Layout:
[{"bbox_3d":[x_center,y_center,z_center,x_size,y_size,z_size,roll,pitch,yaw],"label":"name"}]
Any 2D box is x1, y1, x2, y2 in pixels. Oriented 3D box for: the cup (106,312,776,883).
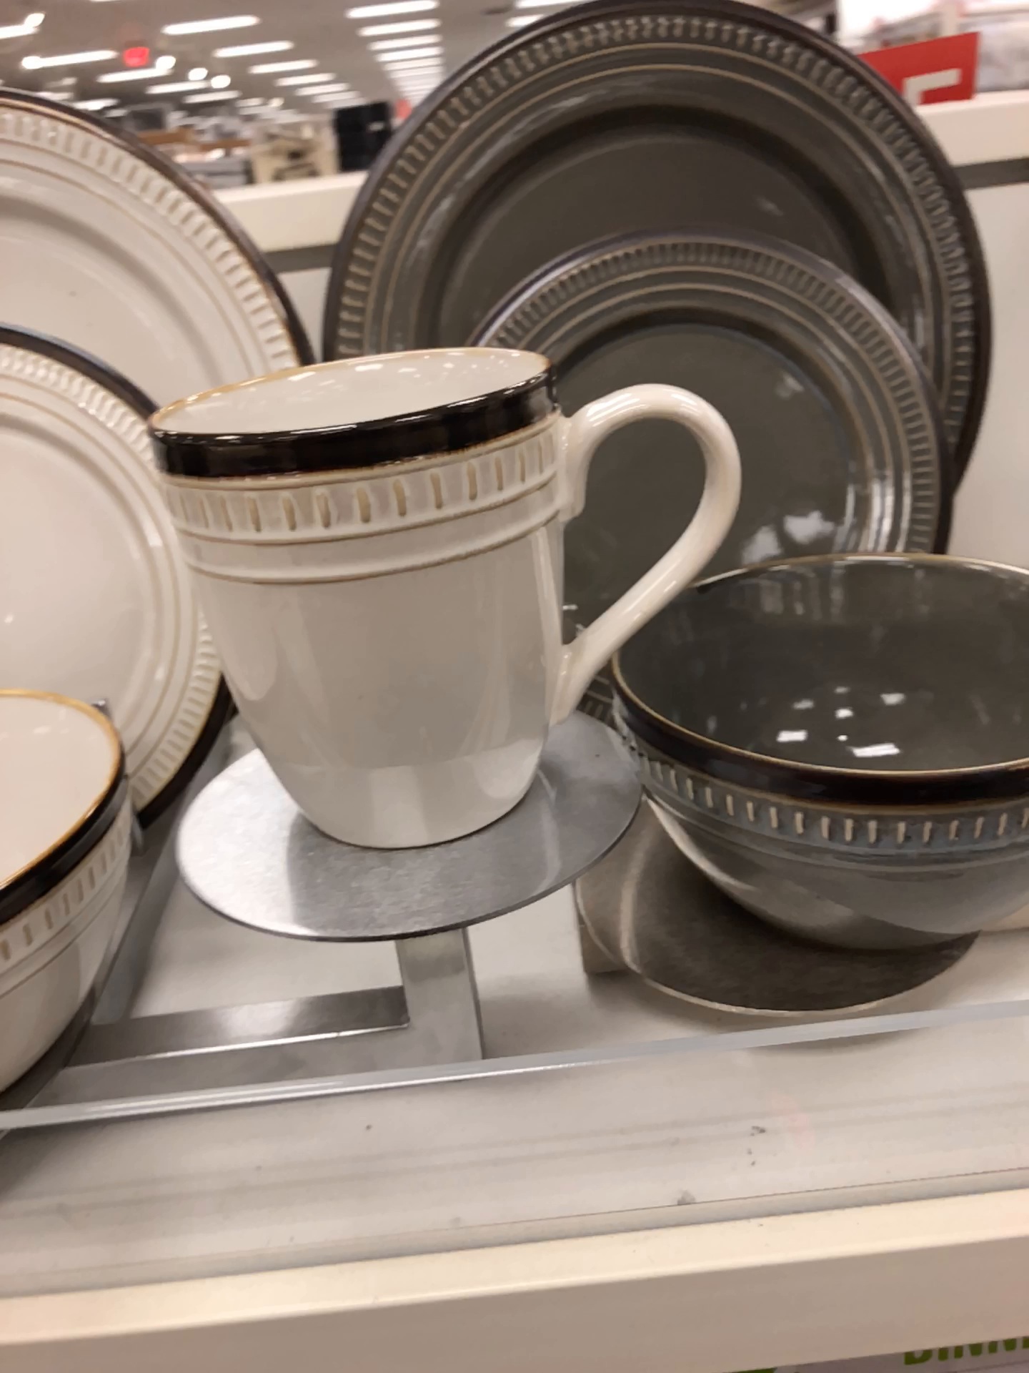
[{"bbox_3d":[-0.014,-0.028,0.282,0.128,0.097,0.092,-9,24,-4],"label":"cup"}]
